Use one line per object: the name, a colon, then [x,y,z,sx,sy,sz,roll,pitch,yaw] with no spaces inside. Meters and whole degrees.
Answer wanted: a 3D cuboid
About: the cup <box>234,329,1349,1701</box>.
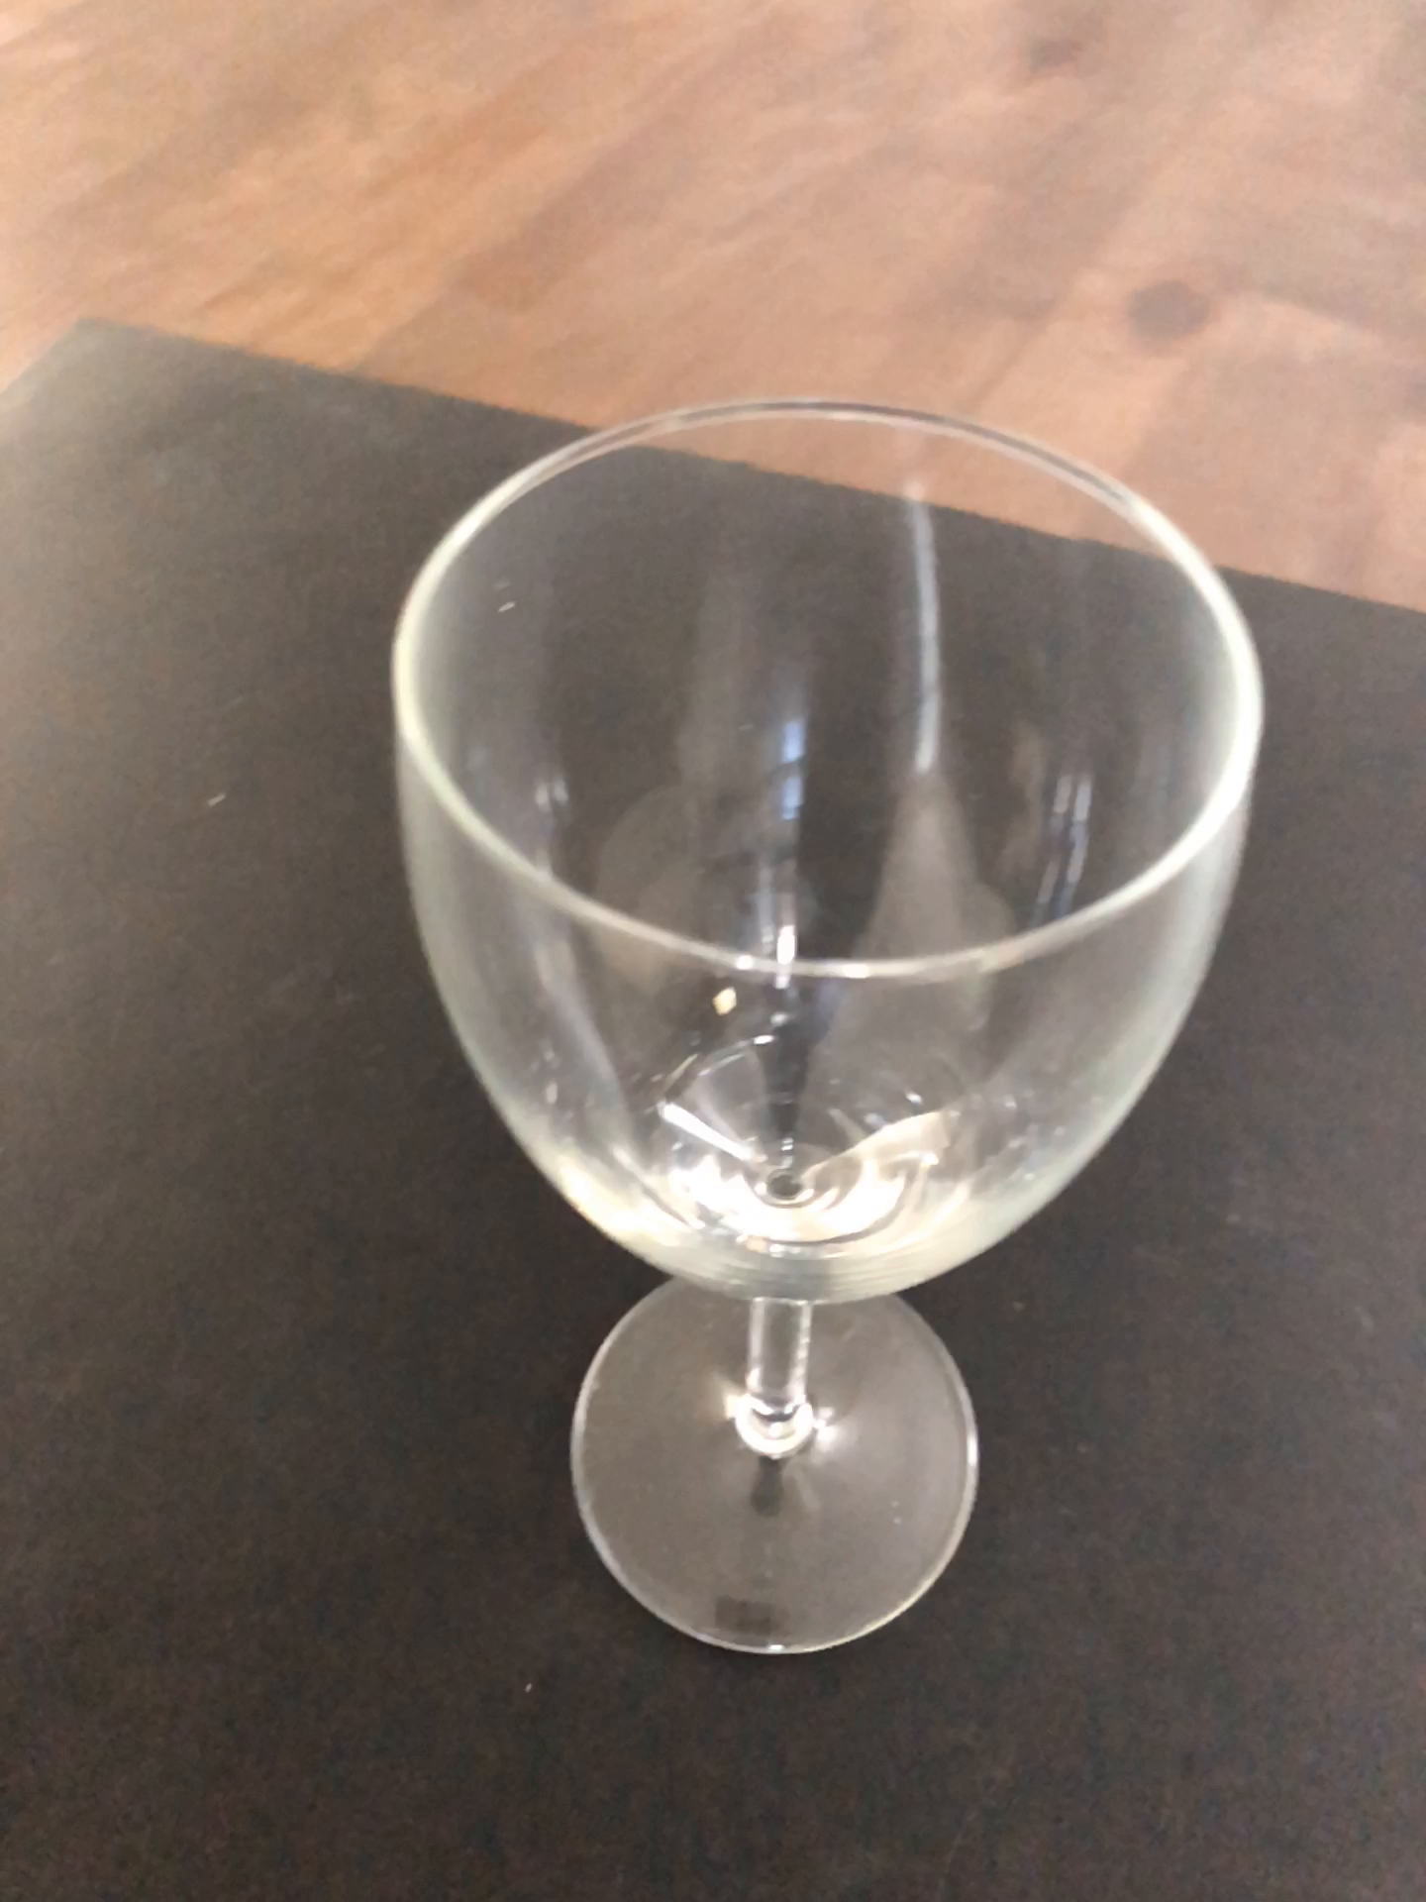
cup: [0.011,0.026,0.209,0.080,0.179,0.081,0,52,0]
